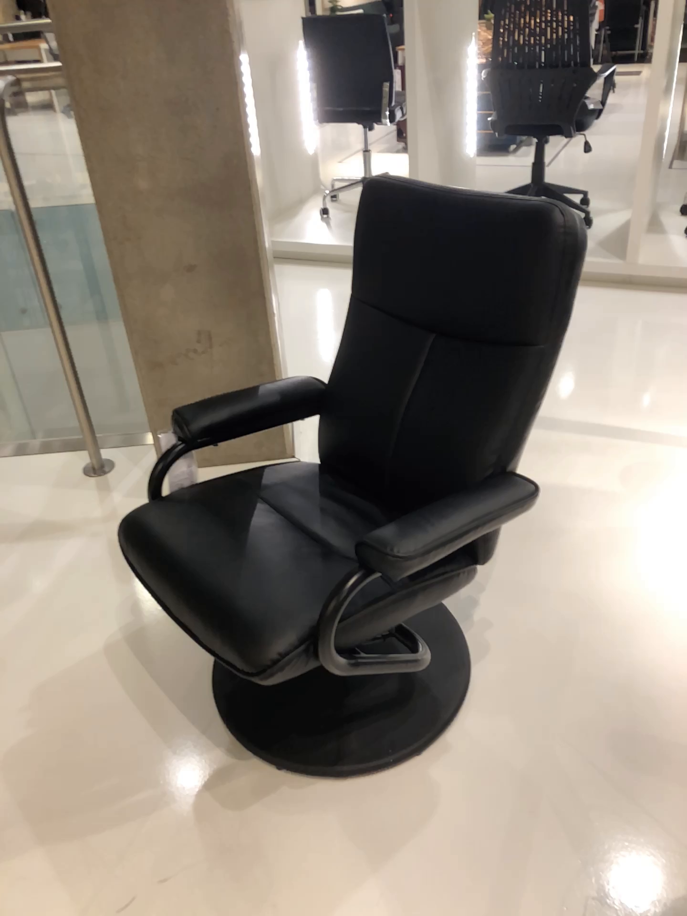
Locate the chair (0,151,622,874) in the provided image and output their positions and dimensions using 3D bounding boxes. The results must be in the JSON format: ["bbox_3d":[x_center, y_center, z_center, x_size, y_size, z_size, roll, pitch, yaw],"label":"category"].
[{"bbox_3d":[-0.031,0.035,1.465,0.733,0.992,0.693,-29,39,-31],"label":"chair"}]
